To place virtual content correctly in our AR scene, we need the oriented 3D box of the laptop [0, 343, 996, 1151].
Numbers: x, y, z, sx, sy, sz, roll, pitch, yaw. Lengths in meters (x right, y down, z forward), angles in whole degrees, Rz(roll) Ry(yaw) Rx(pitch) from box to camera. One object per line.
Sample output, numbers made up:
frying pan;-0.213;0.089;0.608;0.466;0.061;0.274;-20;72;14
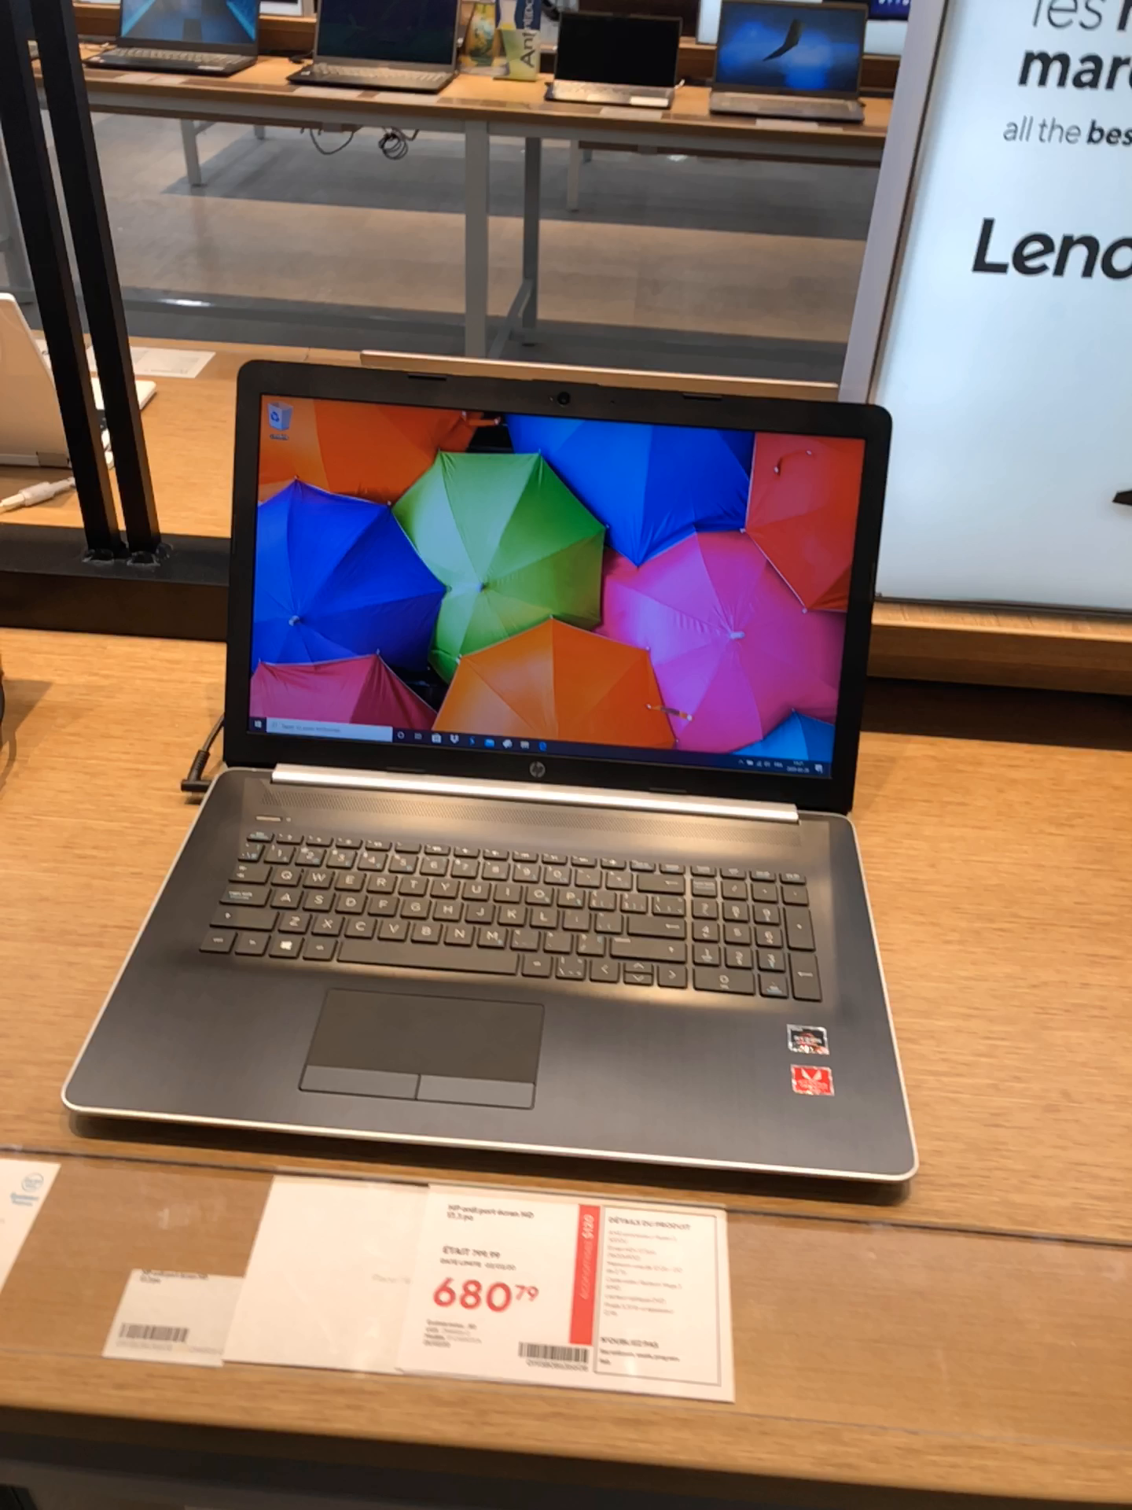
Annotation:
laptop;-0.023;-0.035;0.703;0.399;0.217;0.399;5;39;1
